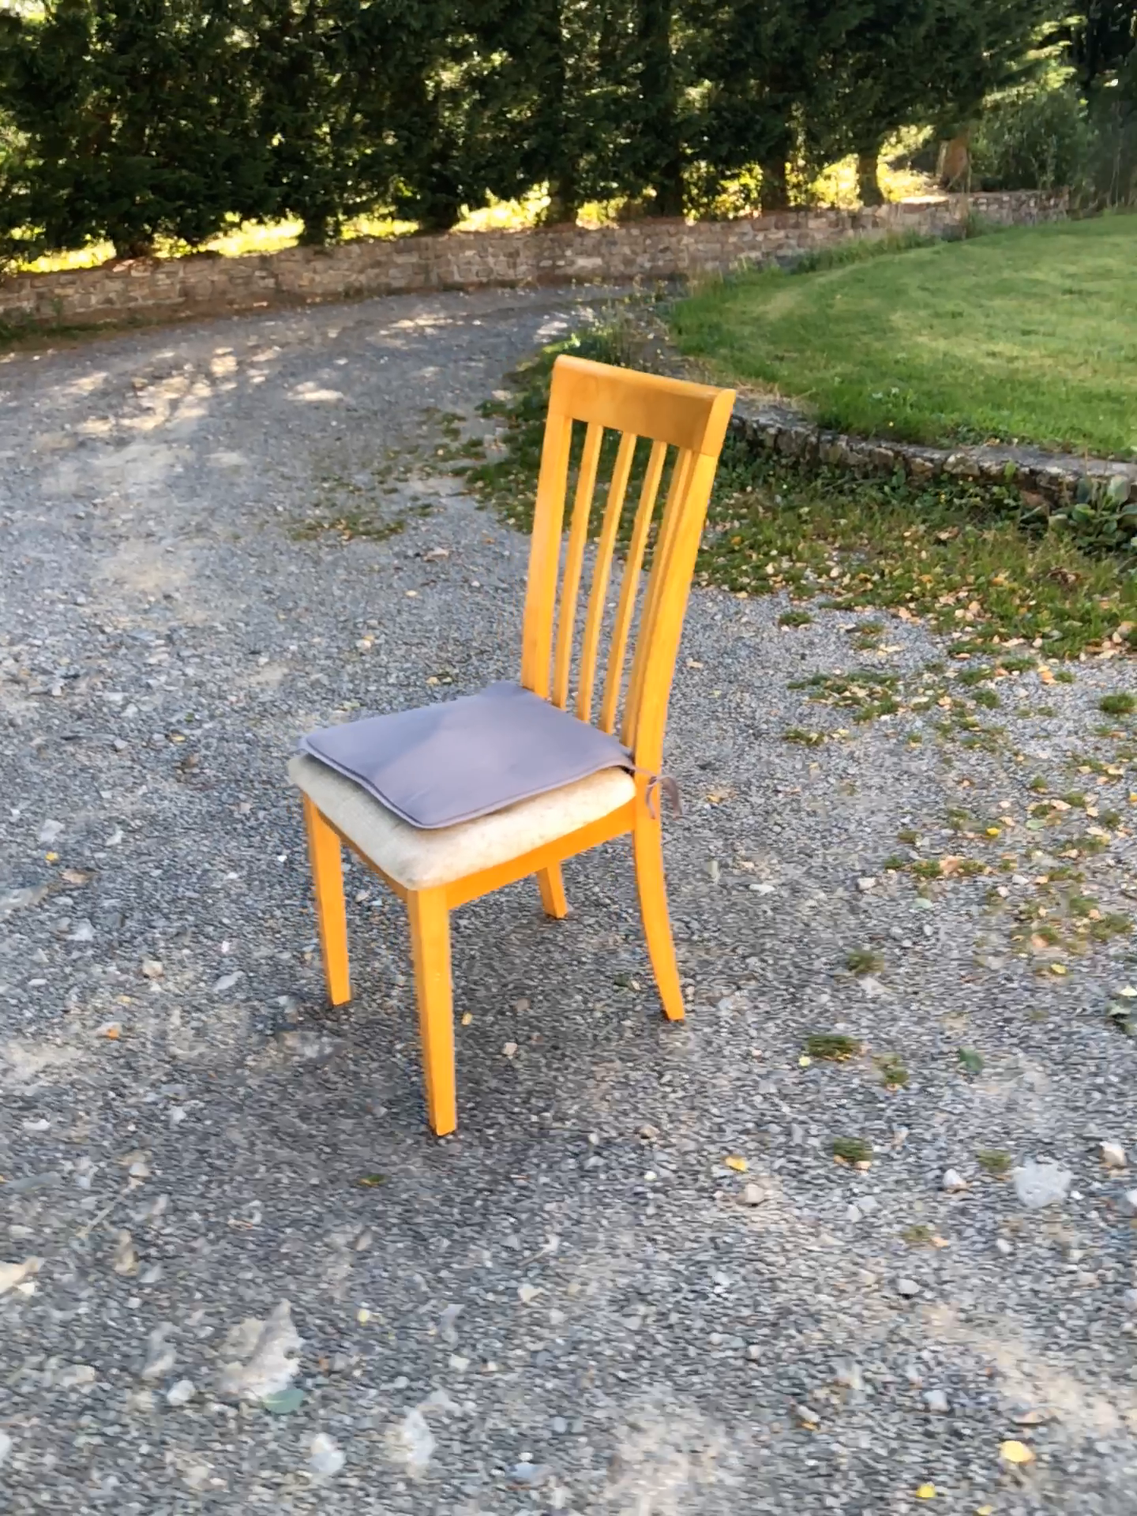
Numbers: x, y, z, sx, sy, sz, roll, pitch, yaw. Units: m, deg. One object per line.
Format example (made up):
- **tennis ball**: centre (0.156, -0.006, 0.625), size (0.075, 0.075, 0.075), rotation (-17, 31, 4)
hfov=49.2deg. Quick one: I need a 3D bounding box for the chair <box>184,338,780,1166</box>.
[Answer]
- **chair**: centre (-0.109, -0.046, 1.871), size (0.612, 0.994, 0.511), rotation (-19, 33, -30)
